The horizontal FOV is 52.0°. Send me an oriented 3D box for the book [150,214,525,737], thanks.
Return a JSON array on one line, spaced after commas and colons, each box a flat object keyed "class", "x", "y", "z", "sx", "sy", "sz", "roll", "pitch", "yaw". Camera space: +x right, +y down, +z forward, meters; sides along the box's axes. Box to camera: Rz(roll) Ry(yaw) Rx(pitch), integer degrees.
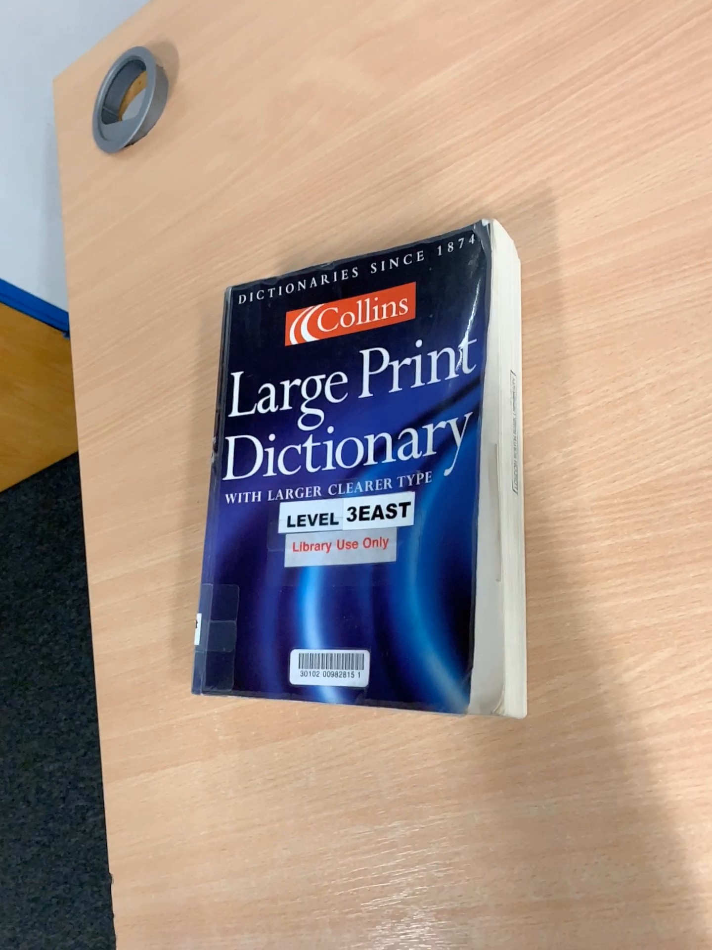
[{"class": "book", "x": -0.011, "y": 0.003, "z": 0.394, "sx": 0.188, "sy": 0.050, "sz": 0.243, "roll": -6, "pitch": 74, "yaw": 29}]
